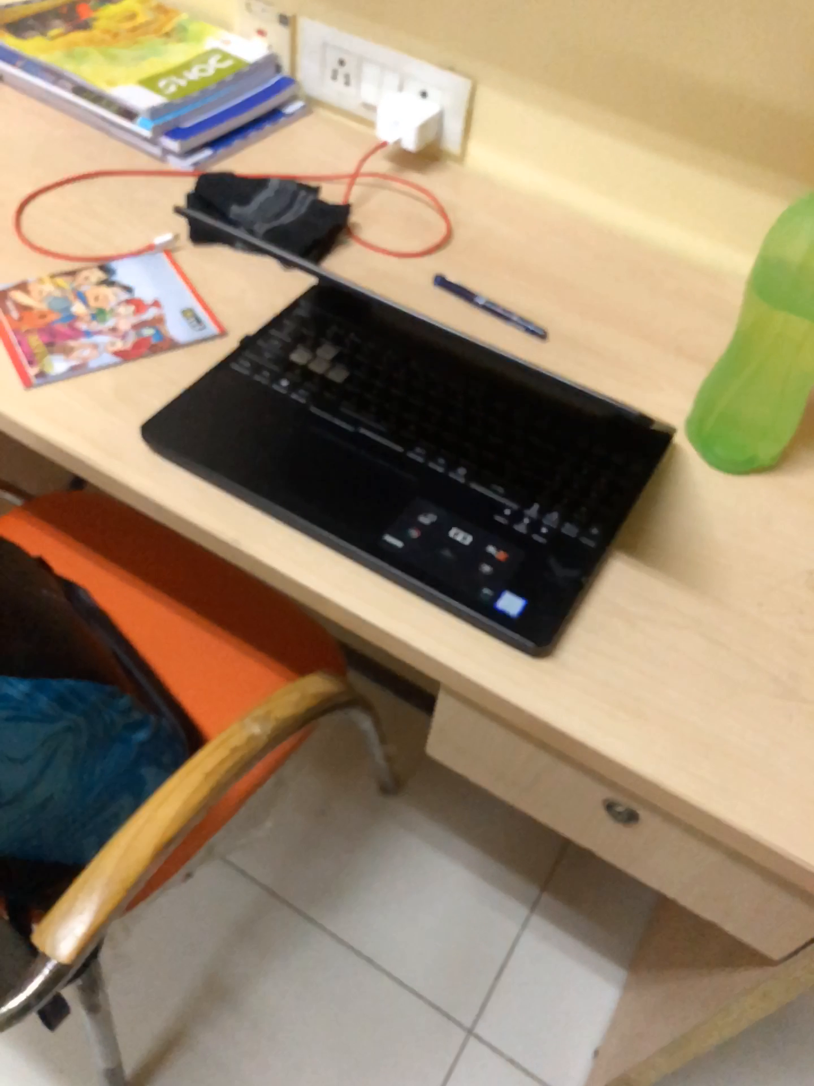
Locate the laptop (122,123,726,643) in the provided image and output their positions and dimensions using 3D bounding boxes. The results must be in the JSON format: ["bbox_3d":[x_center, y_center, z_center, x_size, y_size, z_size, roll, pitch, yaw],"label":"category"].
[{"bbox_3d":[0.012,-0.136,0.677,0.339,0.147,0.249,27,54,16],"label":"laptop"}]
